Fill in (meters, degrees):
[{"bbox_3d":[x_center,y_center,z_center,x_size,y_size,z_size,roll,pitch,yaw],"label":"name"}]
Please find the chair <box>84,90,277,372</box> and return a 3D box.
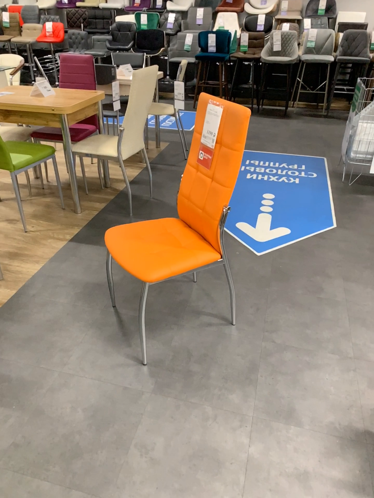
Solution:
[{"bbox_3d":[-0.054,-0.088,1.653,0.541,1.014,0.492,-14,34,-23],"label":"chair"}]
